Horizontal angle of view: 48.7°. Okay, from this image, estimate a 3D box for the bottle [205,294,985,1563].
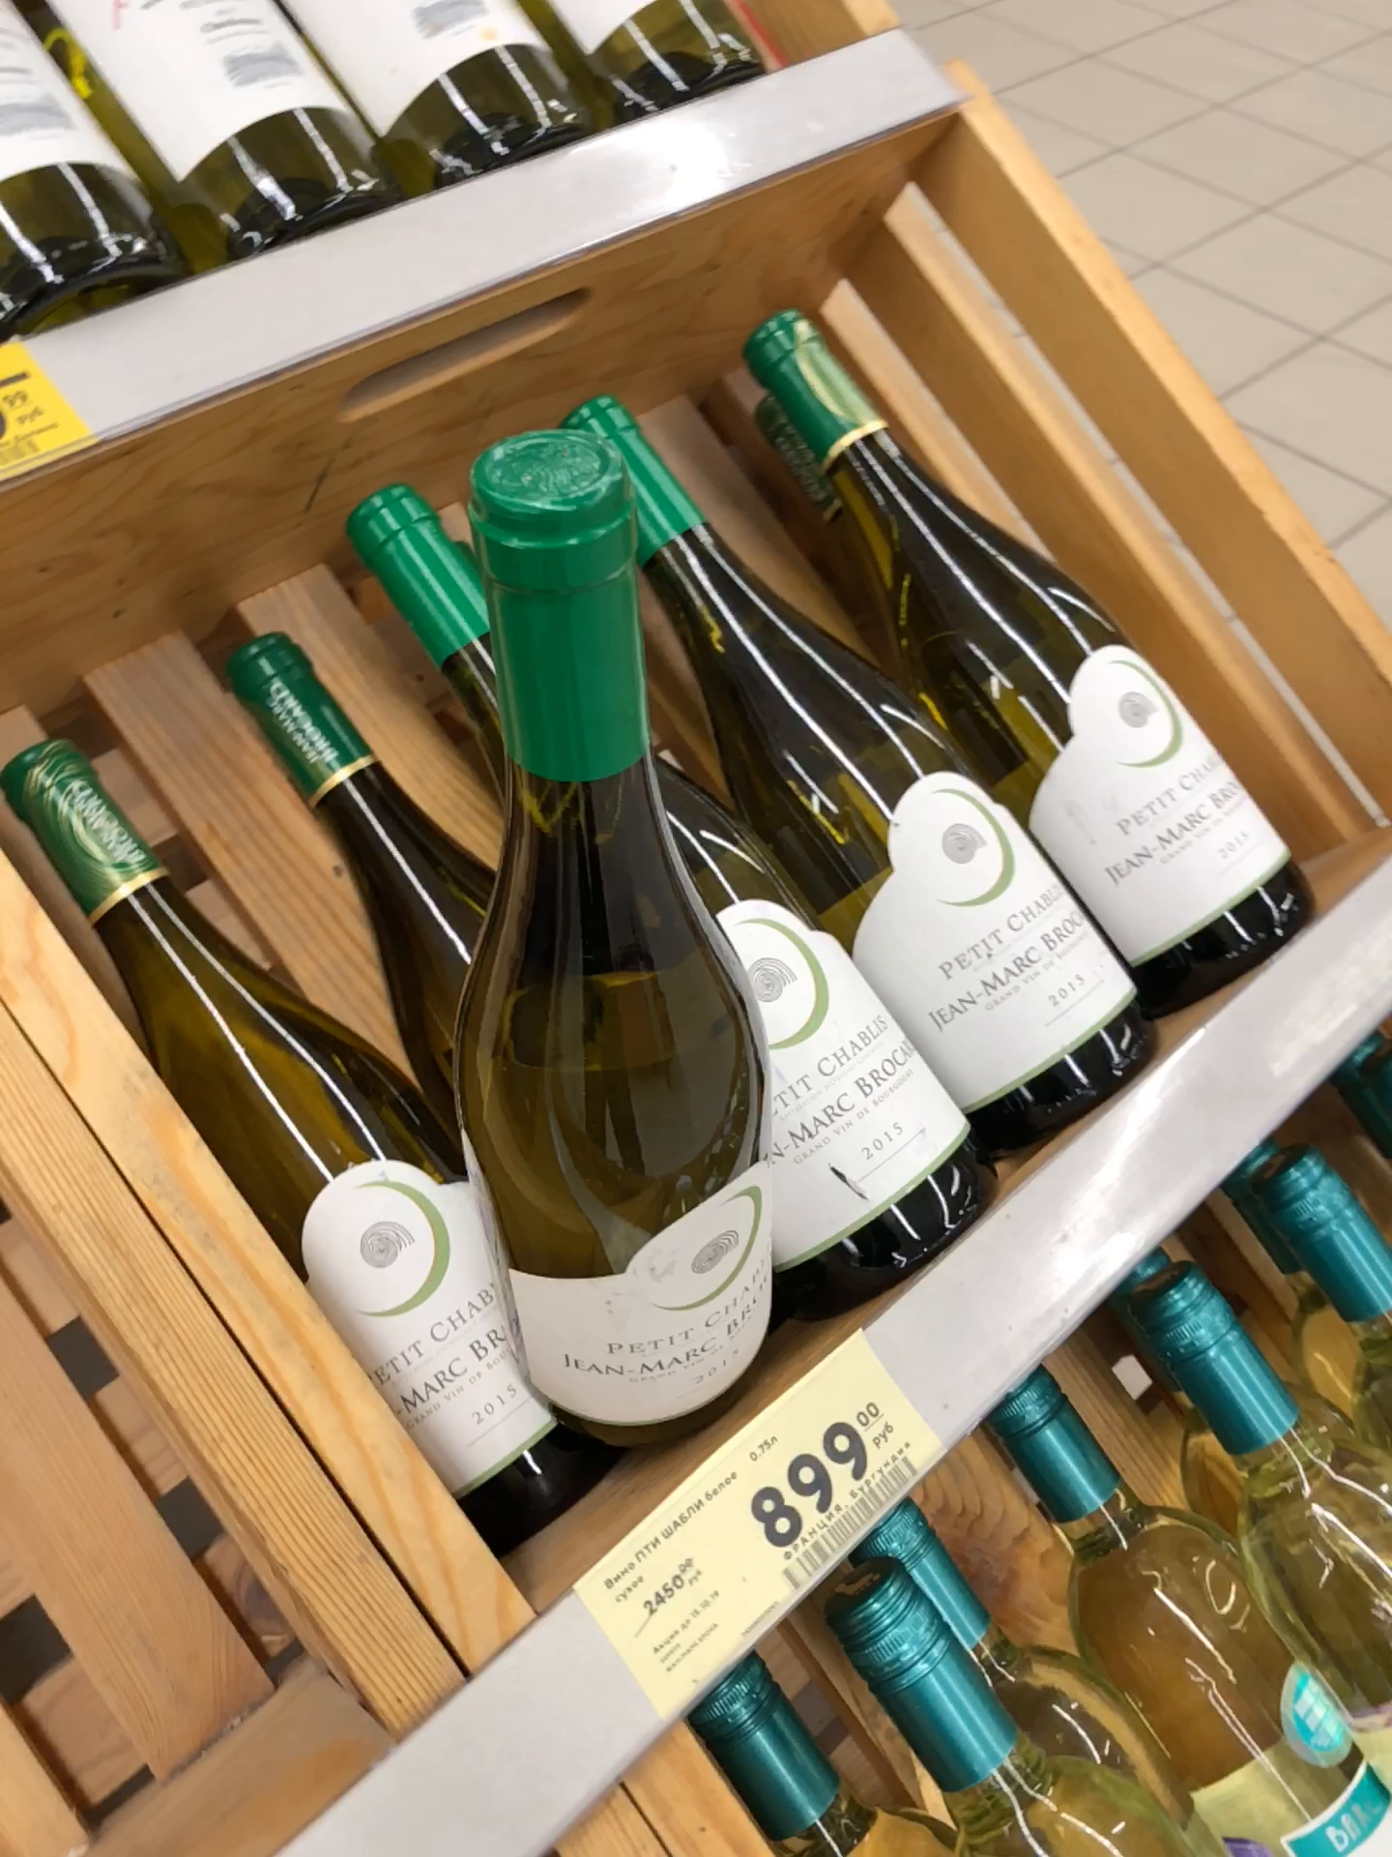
[{"bbox_3d":[-0.017,0.025,0.352,0.090,0.289,0.090,0,47,0],"label":"bottle"}]
